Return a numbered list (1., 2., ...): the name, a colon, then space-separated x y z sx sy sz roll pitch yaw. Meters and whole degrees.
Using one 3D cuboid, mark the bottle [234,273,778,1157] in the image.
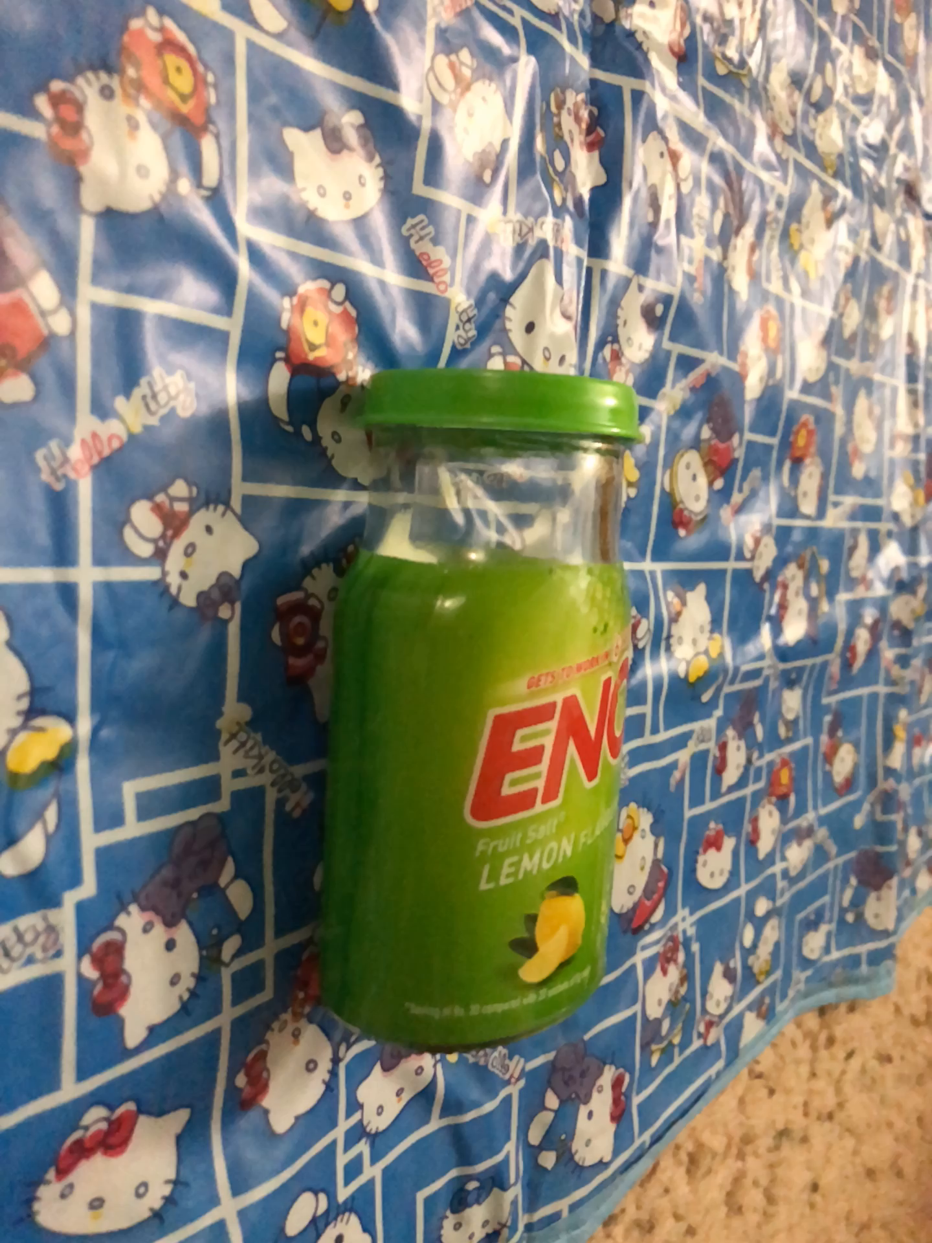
1. bottle: 0.006 0.009 0.165 0.060 0.050 0.110 -7 105 -51
